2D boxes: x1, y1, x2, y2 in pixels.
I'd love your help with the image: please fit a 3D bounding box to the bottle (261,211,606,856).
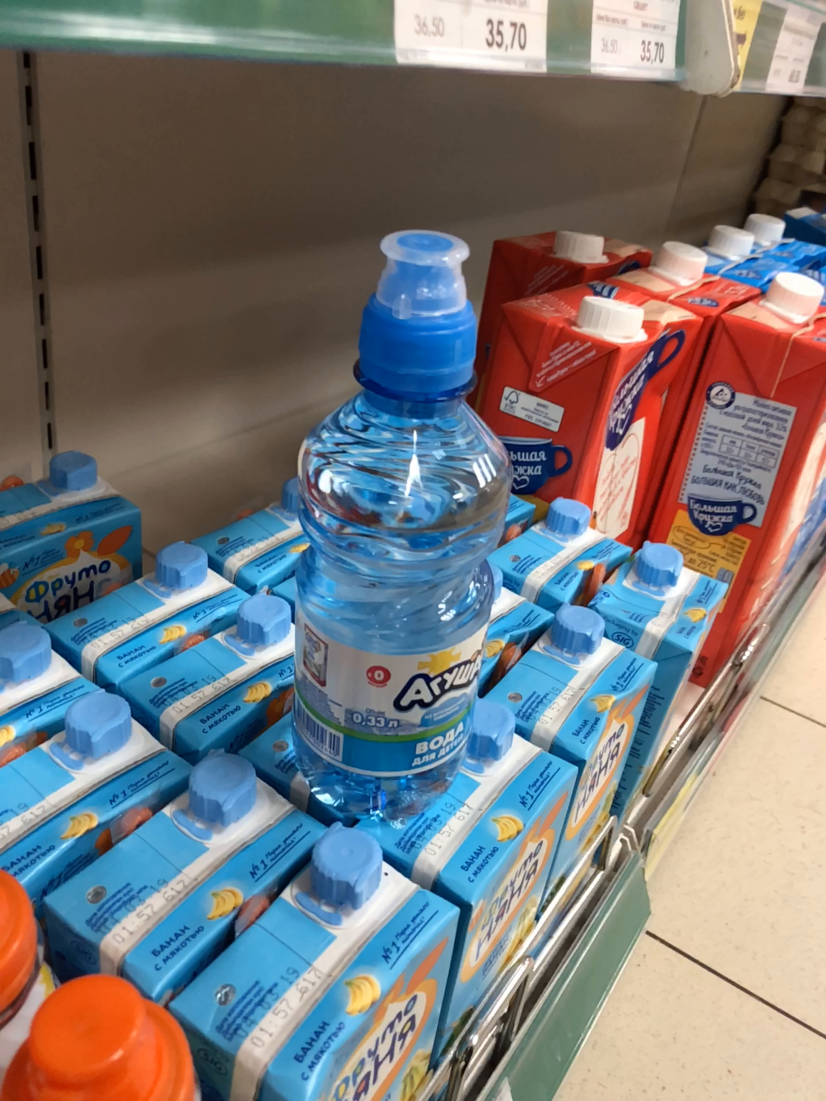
[{"bbox_3d":[-0.002,-0.001,0.269,0.056,0.173,0.060,5,33,-3],"label":"bottle"}]
